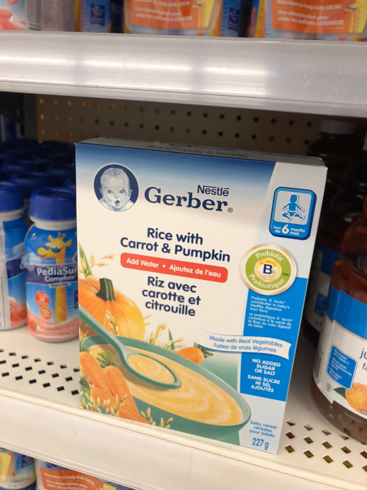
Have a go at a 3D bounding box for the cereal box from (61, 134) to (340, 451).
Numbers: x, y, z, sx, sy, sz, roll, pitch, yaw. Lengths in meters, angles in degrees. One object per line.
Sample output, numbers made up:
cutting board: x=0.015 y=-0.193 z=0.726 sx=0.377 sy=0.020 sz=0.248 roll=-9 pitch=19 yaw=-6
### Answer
cereal box: x=0.003 y=0.029 z=0.269 sx=0.150 sy=0.179 sz=0.050 roll=8 pitch=20 yaw=10
